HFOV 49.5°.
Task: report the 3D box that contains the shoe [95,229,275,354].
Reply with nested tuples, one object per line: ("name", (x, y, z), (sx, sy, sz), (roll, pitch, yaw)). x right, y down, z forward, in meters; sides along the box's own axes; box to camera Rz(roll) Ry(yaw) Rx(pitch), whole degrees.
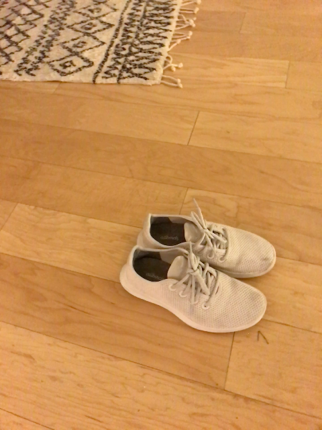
("shoe", (0.042, 0.128, 0.618), (0.280, 0.070, 0.121), (15, 59, 17))

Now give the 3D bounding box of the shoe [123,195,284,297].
("shoe", (0.080, 0.053, 0.662), (0.270, 0.070, 0.121), (11, 58, 15))
